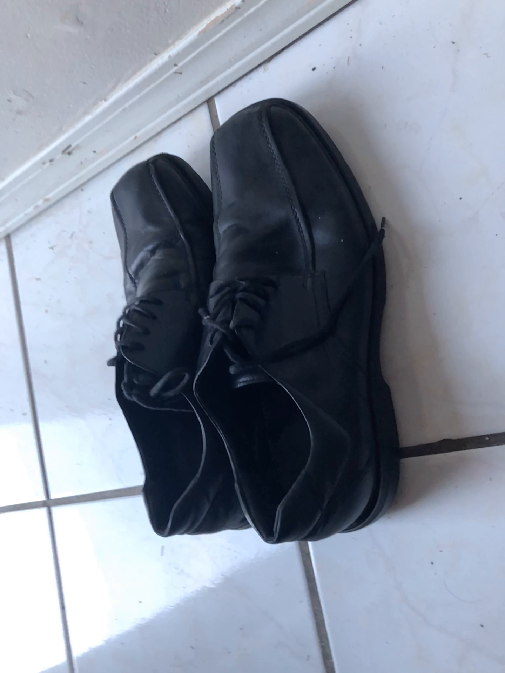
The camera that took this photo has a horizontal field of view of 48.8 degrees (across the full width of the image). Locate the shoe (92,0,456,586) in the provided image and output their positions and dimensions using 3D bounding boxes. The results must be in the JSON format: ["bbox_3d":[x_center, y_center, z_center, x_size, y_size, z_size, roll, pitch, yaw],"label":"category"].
[{"bbox_3d":[0.008,-0.024,0.324,0.111,0.099,0.290,-20,79,35],"label":"shoe"}]

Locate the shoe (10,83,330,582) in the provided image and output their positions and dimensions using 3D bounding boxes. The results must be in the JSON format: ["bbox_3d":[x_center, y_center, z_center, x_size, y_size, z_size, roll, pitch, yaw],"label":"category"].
[{"bbox_3d":[-0.064,0.000,0.389,0.121,0.099,0.290,-24,76,34],"label":"shoe"}]
